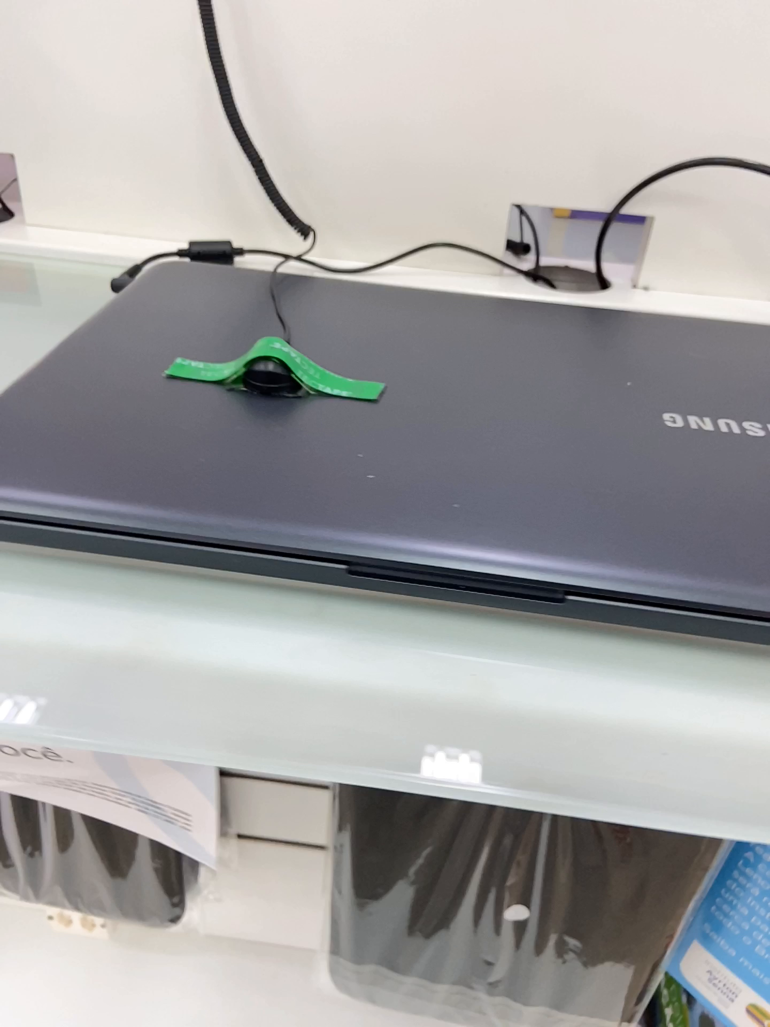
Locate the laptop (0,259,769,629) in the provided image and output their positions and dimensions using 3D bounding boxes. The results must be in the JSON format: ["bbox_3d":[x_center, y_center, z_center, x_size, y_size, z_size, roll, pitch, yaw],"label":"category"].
[{"bbox_3d":[0.029,-0.054,0.342,0.350,0.001,0.234,7,36,3],"label":"laptop"}]
